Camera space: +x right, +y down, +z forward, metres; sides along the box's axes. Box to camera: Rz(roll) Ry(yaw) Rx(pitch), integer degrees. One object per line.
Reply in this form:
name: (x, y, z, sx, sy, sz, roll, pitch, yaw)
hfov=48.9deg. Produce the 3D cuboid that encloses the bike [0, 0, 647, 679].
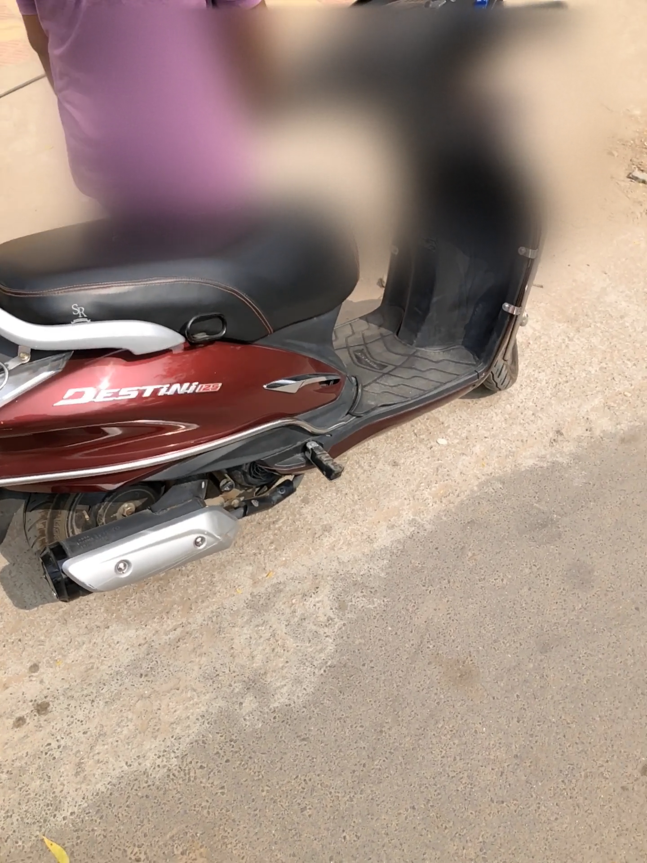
bike: (-0.081, -0.409, 1.730, 1.622, 1.126, 0.675, -32, 56, -27)
